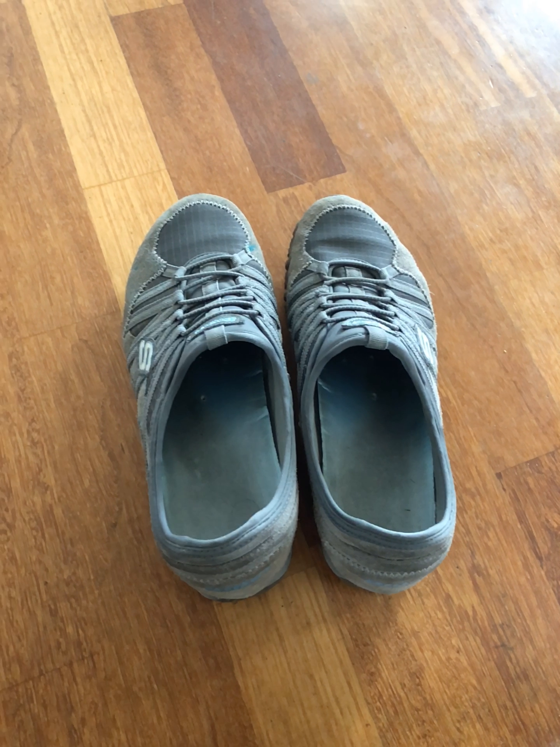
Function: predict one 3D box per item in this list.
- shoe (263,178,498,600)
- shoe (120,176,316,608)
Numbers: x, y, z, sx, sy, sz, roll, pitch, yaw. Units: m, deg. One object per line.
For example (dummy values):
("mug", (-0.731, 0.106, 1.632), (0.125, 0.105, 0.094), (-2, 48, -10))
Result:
("shoe", (0.049, 0.010, 0.404), (0.093, 0.106, 0.250), (-3, 69, -6))
("shoe", (-0.046, 0.012, 0.400), (0.096, 0.106, 0.254), (-3, 69, -6))
